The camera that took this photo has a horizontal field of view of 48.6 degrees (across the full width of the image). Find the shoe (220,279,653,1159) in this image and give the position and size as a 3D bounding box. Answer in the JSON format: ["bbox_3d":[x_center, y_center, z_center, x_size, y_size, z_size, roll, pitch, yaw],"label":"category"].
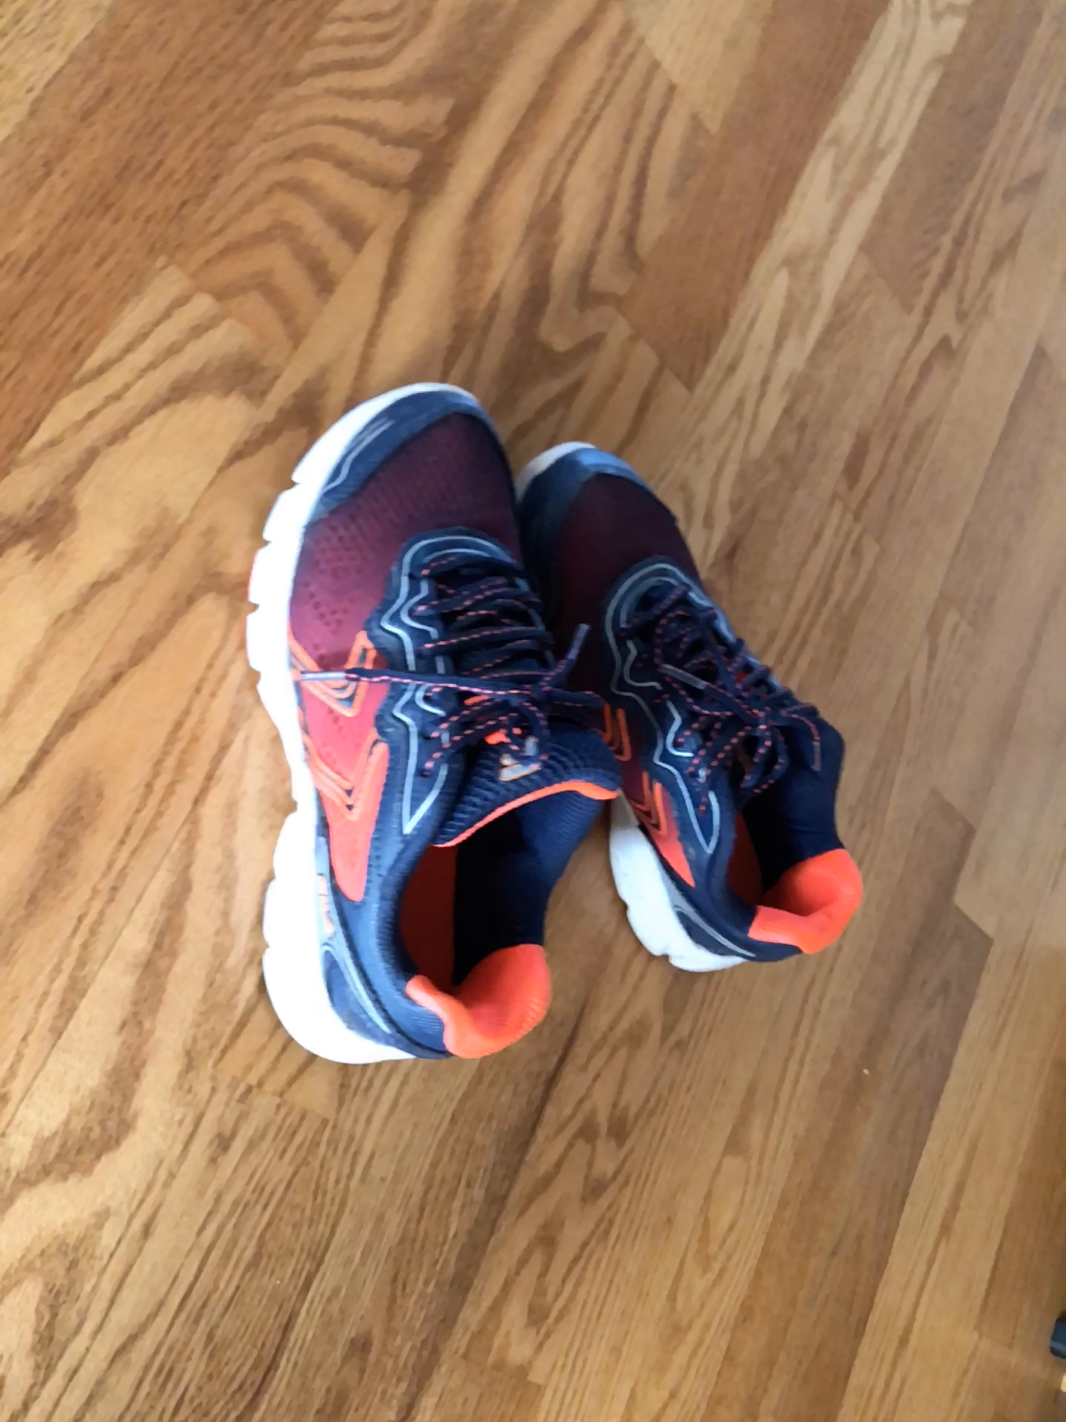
[{"bbox_3d":[-0.037,0.004,0.438,0.108,0.109,0.270,3,88,-38],"label":"shoe"}]

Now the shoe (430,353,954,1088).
[{"bbox_3d":[0.076,0.005,0.526,0.116,0.109,0.277,-29,107,-34],"label":"shoe"}]
